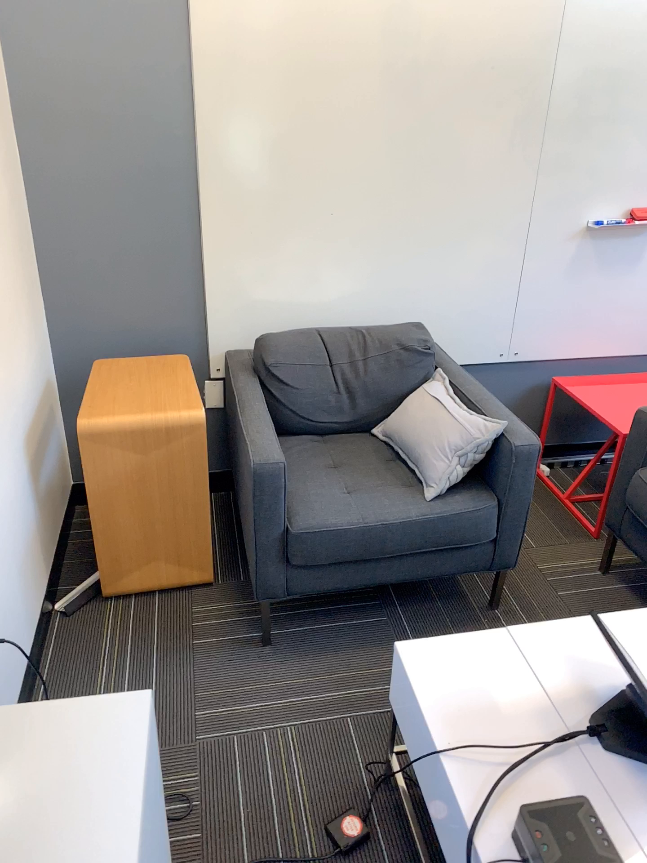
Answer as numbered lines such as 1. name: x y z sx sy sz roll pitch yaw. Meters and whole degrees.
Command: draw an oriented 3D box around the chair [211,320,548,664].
1. chair: 0.088 0.123 2.287 0.840 0.716 0.946 -4 28 -13
